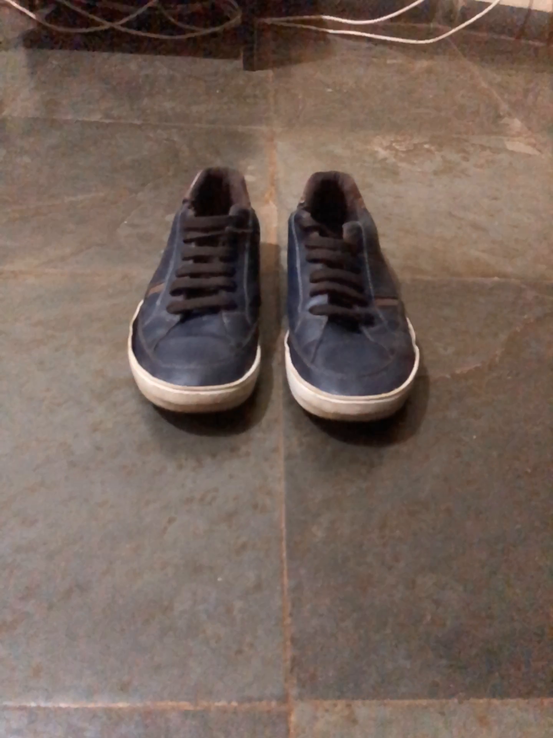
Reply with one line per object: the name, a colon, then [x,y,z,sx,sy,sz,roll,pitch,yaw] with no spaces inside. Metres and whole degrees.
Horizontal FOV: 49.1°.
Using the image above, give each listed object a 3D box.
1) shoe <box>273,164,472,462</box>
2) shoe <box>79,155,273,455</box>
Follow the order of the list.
shoe: [0.060,-0.066,0.521,0.110,0.099,0.292,1,42,-4]
shoe: [-0.067,-0.073,0.518,0.120,0.099,0.292,2,42,-3]
